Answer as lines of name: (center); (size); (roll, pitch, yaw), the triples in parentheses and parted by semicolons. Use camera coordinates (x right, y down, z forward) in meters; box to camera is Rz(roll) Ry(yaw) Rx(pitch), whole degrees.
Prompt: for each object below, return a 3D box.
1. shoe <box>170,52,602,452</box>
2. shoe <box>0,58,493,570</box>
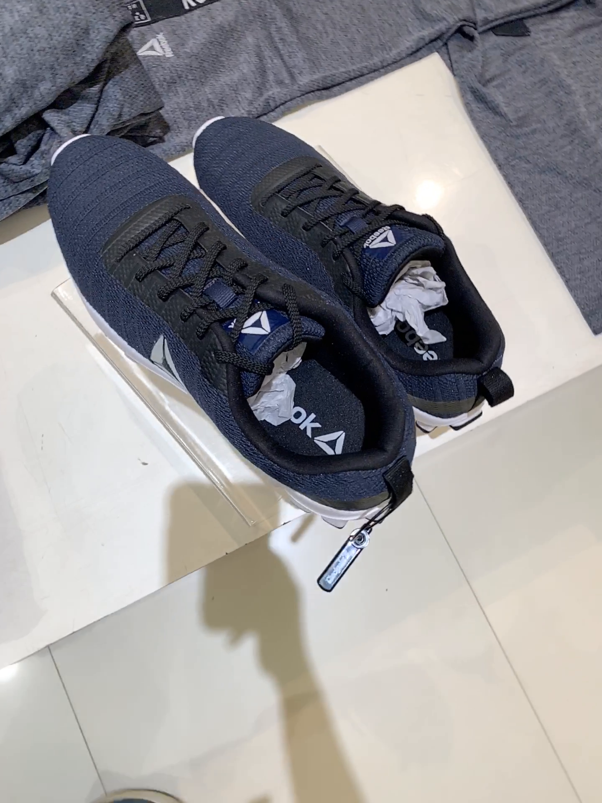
shoe: (0.044, -0.112, 0.428); (0.100, 0.080, 0.290); (-40, 69, -11)
shoe: (-0.041, -0.050, 0.369); (0.120, 0.080, 0.280); (-43, 84, -11)
